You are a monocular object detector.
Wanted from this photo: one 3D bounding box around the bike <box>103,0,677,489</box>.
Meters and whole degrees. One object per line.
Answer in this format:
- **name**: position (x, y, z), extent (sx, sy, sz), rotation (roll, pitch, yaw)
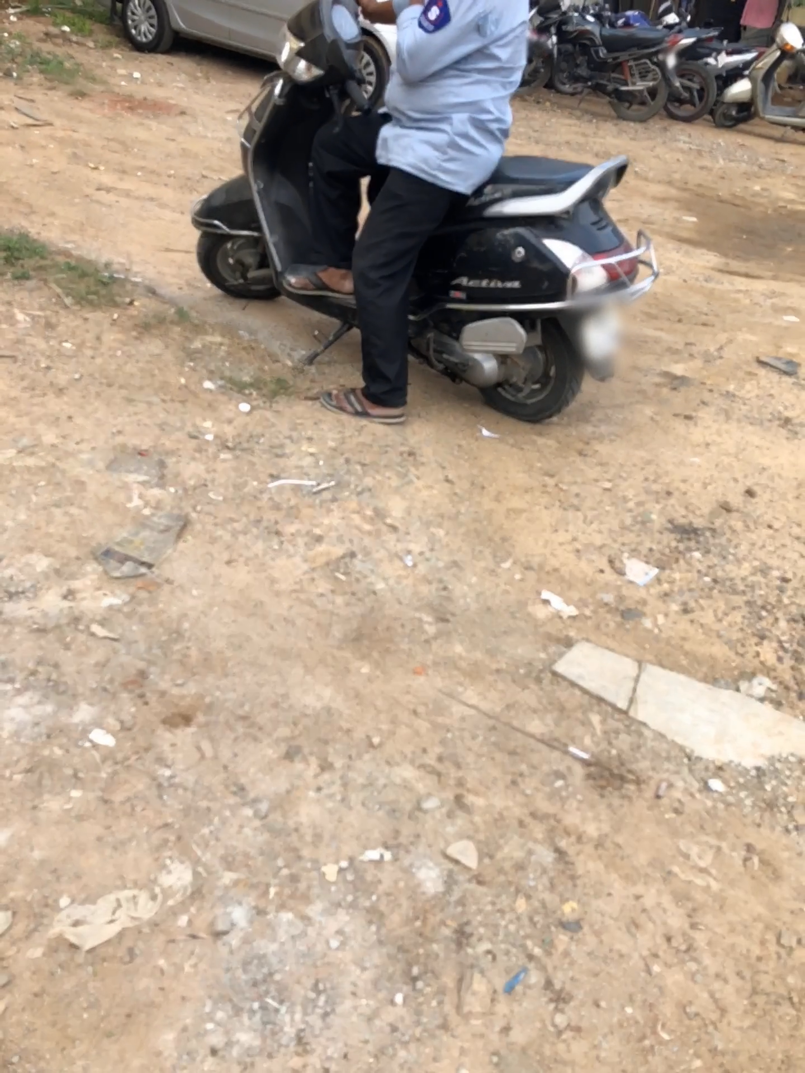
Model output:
- **bike**: position (-0.135, -0.981, 2.661), extent (1.524, 1.101, 0.578), rotation (25, 37, 28)
